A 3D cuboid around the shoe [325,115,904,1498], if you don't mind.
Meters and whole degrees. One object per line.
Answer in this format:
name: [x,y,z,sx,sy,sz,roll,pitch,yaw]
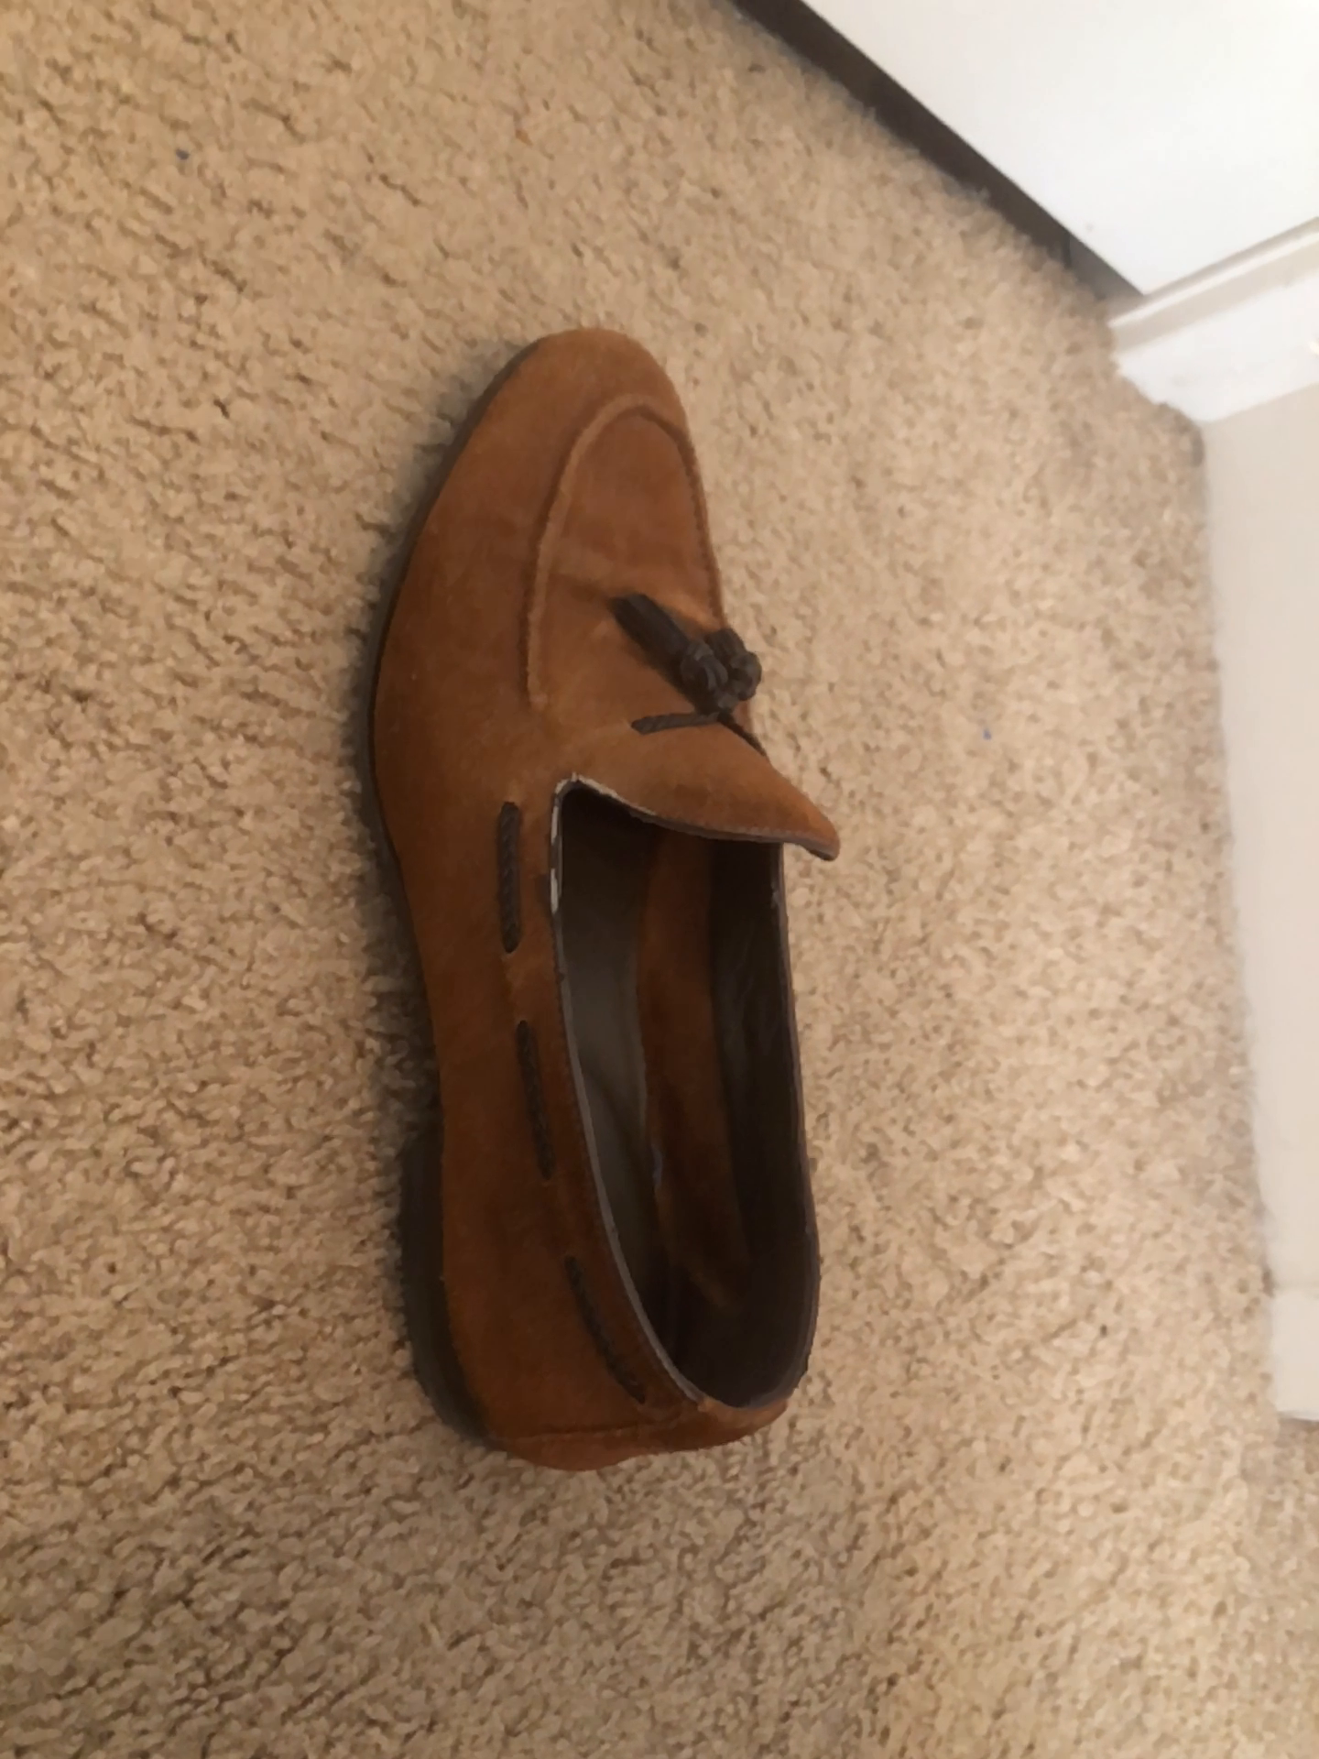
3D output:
shoe: [-0.011,-0.015,0.368,0.091,0.099,0.292,11,75,-44]
